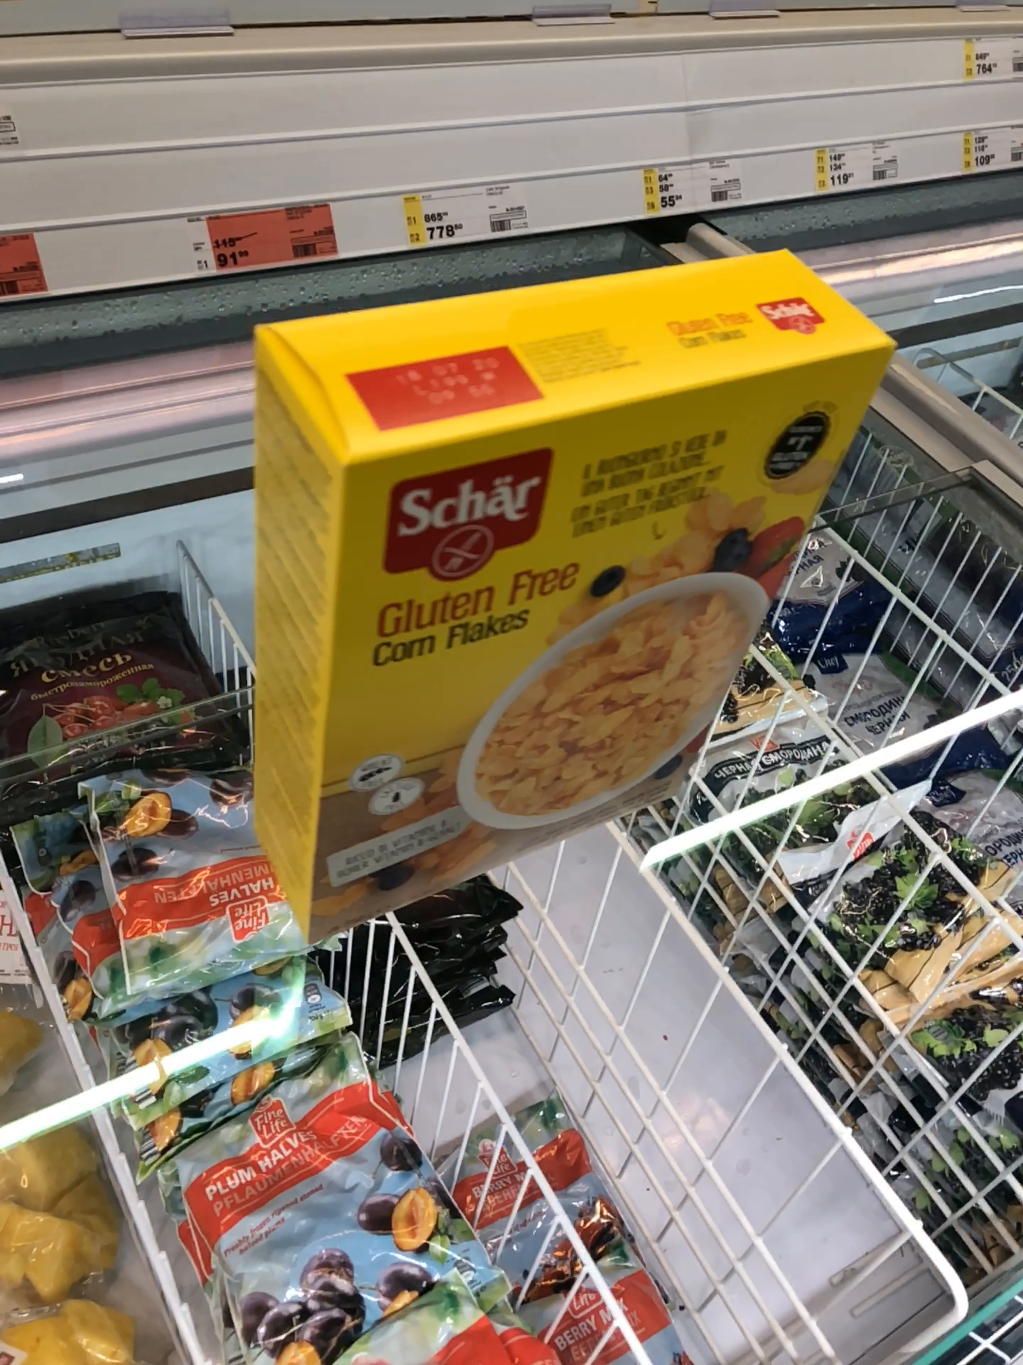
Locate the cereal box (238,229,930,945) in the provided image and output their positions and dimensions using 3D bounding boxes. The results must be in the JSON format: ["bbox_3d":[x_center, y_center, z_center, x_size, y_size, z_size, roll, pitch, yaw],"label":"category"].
[{"bbox_3d":[0.010,-0.026,0.407,0.201,0.238,0.060,-18,55,-26],"label":"cereal box"}]
